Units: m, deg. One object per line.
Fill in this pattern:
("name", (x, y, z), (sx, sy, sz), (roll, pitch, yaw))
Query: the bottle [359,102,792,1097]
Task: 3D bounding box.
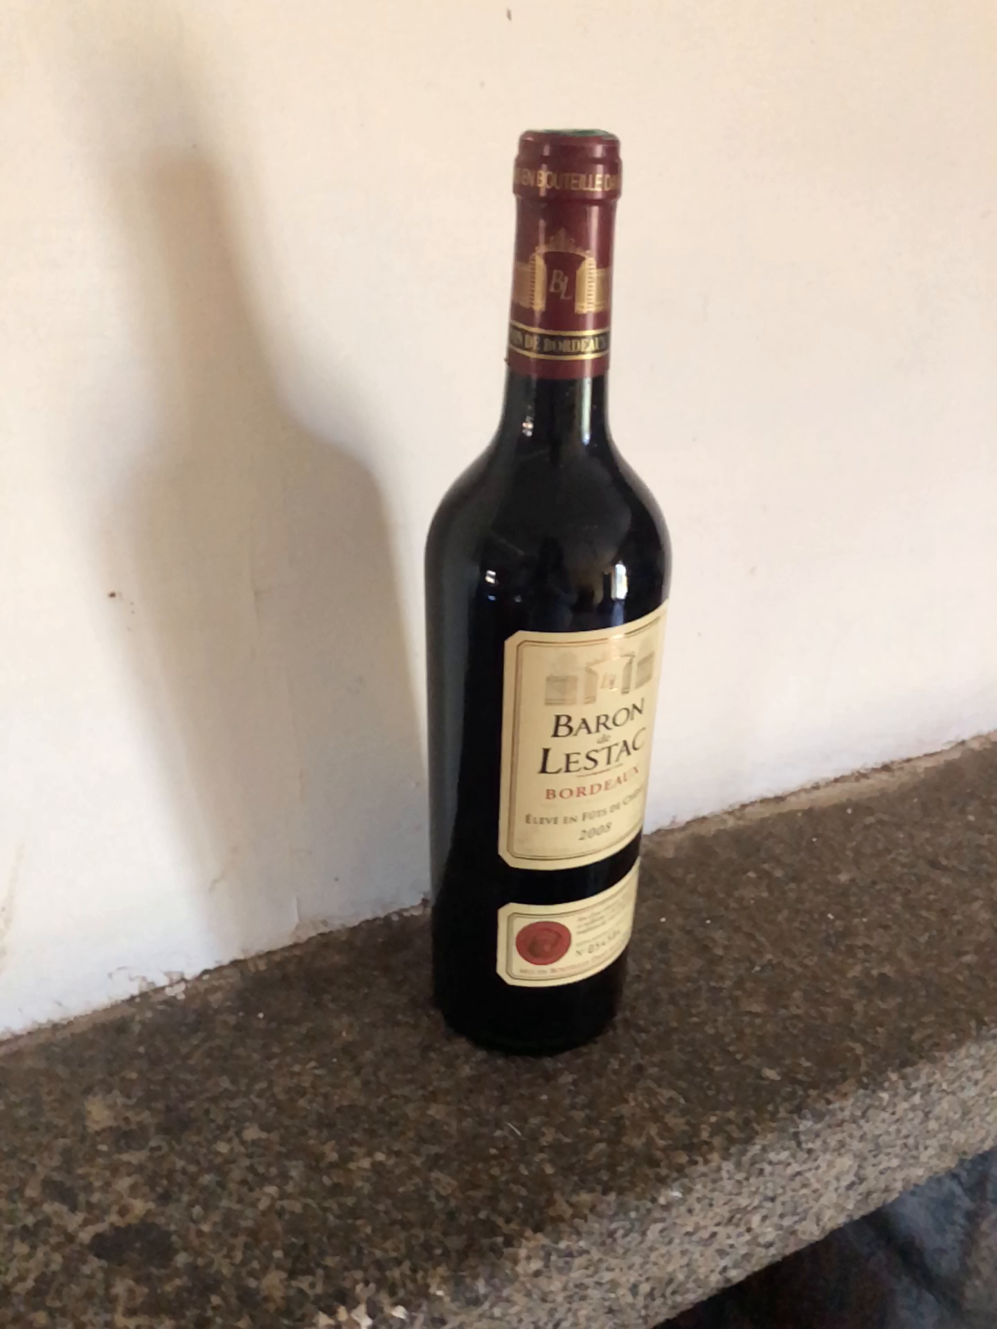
("bottle", (0.015, -0.010, 0.328), (0.080, 0.278, 0.070), (-11, 29, -22))
